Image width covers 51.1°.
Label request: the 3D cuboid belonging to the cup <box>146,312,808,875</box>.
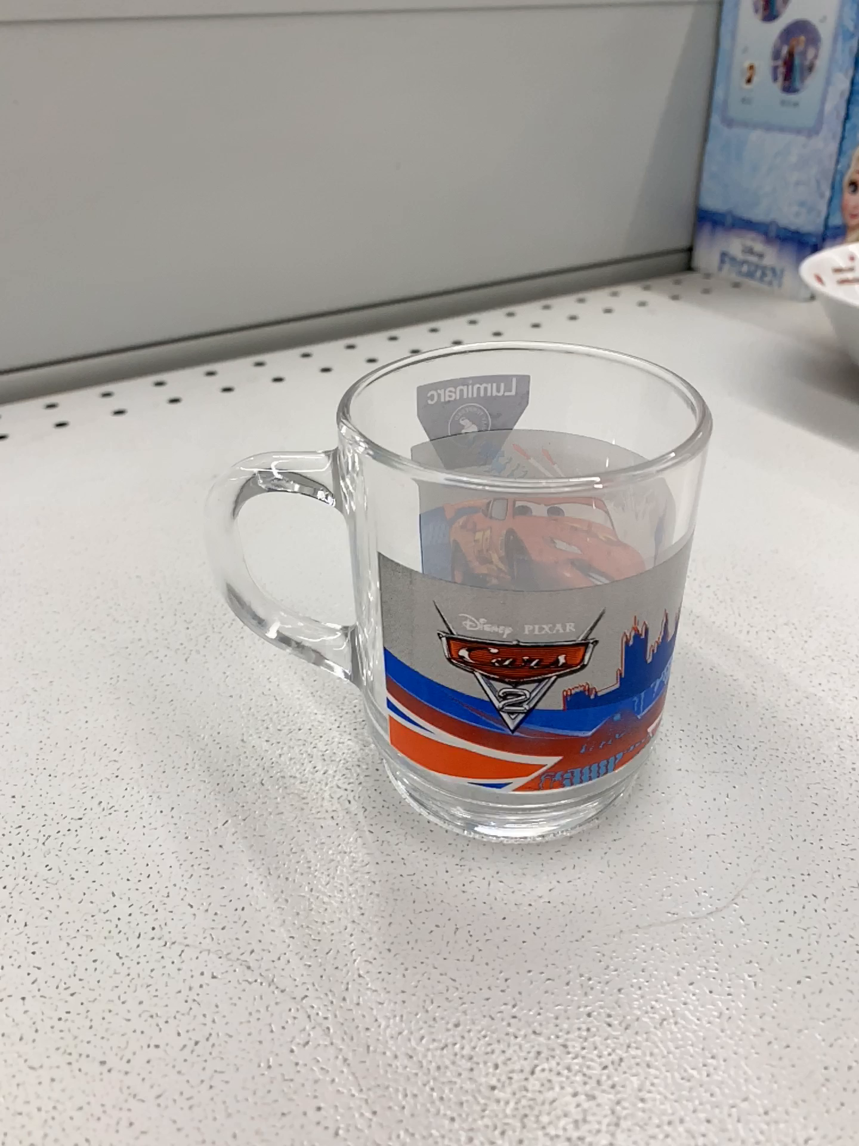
[{"bbox_3d":[0.012,-0.001,0.187,0.101,0.081,0.072,5,33,11],"label":"cup"}]
